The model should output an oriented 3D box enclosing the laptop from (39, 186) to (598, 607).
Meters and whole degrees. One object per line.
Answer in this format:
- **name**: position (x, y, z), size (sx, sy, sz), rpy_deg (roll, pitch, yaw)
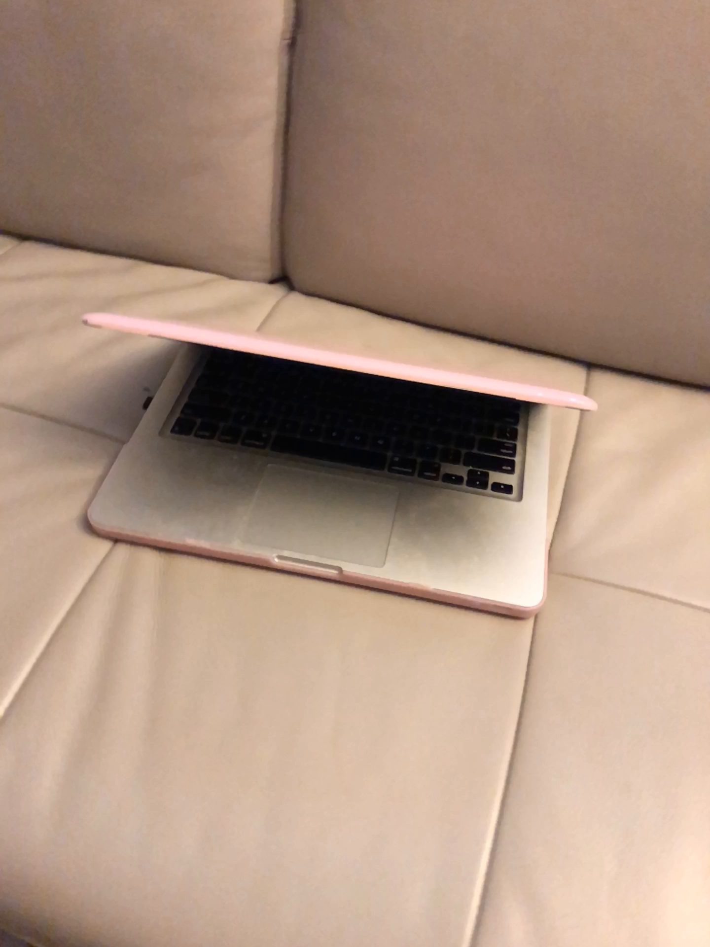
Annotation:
- **laptop**: position (-0.005, -0.063, 0.549), size (0.307, 0.145, 0.220), rpy_deg (10, 49, 6)
